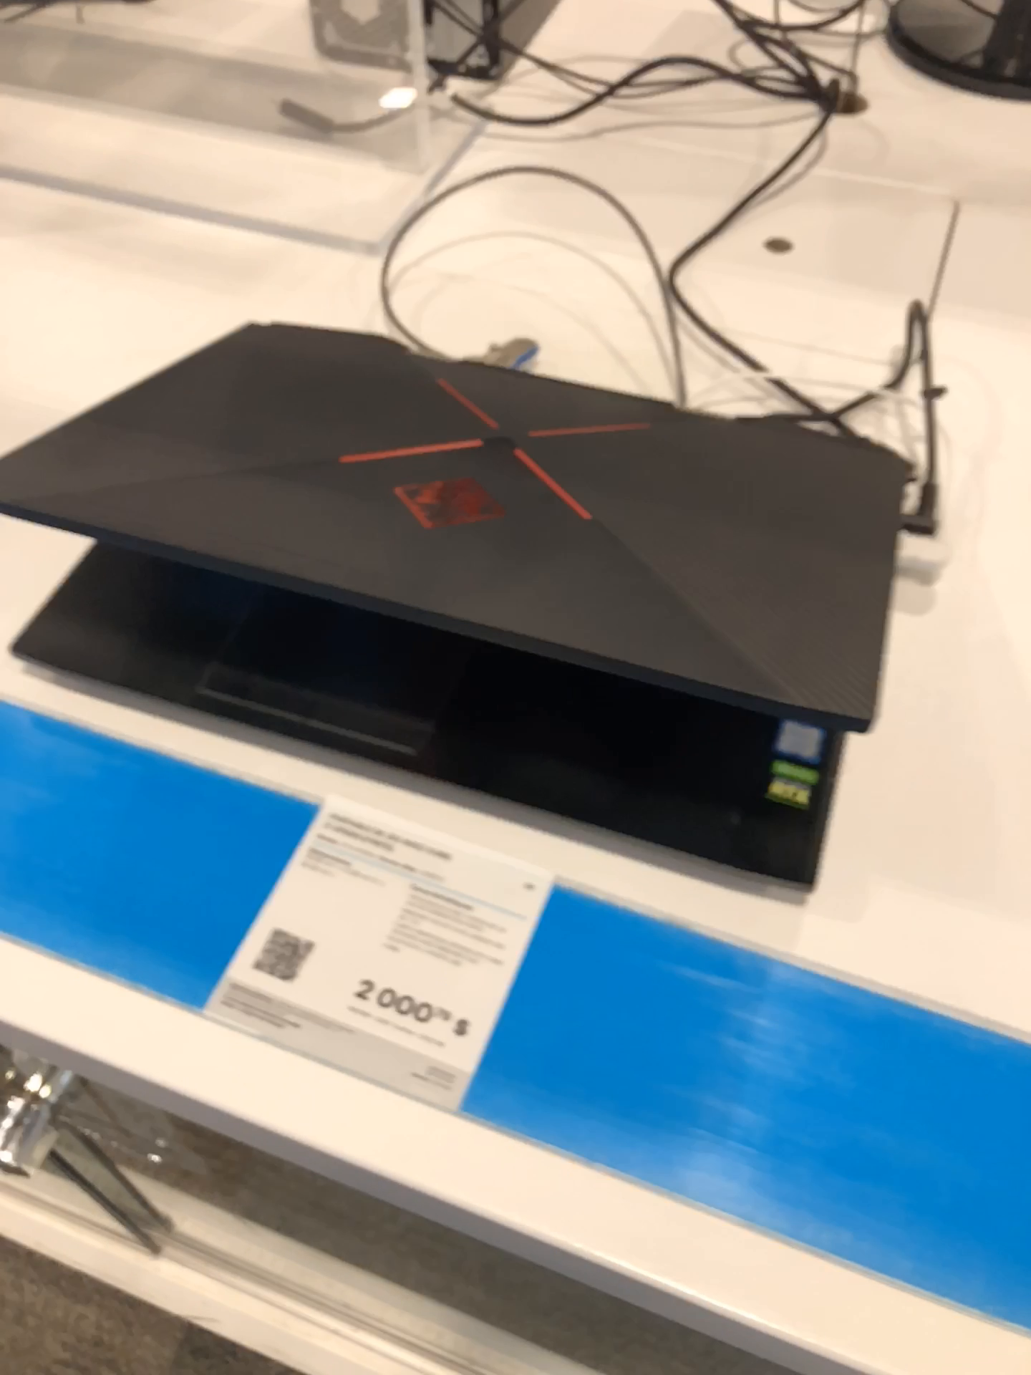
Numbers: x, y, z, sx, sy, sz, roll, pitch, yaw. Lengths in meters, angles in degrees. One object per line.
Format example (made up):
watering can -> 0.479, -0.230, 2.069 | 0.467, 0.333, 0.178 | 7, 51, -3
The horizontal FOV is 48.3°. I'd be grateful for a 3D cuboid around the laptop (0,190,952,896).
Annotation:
laptop -> -0.013, -0.085, 0.496 | 0.346, 0.085, 0.235 | 16, 54, 13
